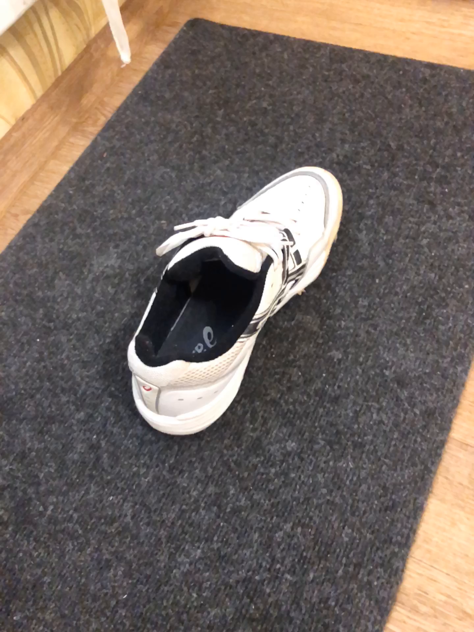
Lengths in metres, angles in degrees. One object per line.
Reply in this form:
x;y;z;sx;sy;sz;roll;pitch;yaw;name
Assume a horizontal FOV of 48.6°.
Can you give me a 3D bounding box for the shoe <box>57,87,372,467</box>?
0.001;-0.041;0.420;0.100;0.100;0.280;24;67;20;shoe
